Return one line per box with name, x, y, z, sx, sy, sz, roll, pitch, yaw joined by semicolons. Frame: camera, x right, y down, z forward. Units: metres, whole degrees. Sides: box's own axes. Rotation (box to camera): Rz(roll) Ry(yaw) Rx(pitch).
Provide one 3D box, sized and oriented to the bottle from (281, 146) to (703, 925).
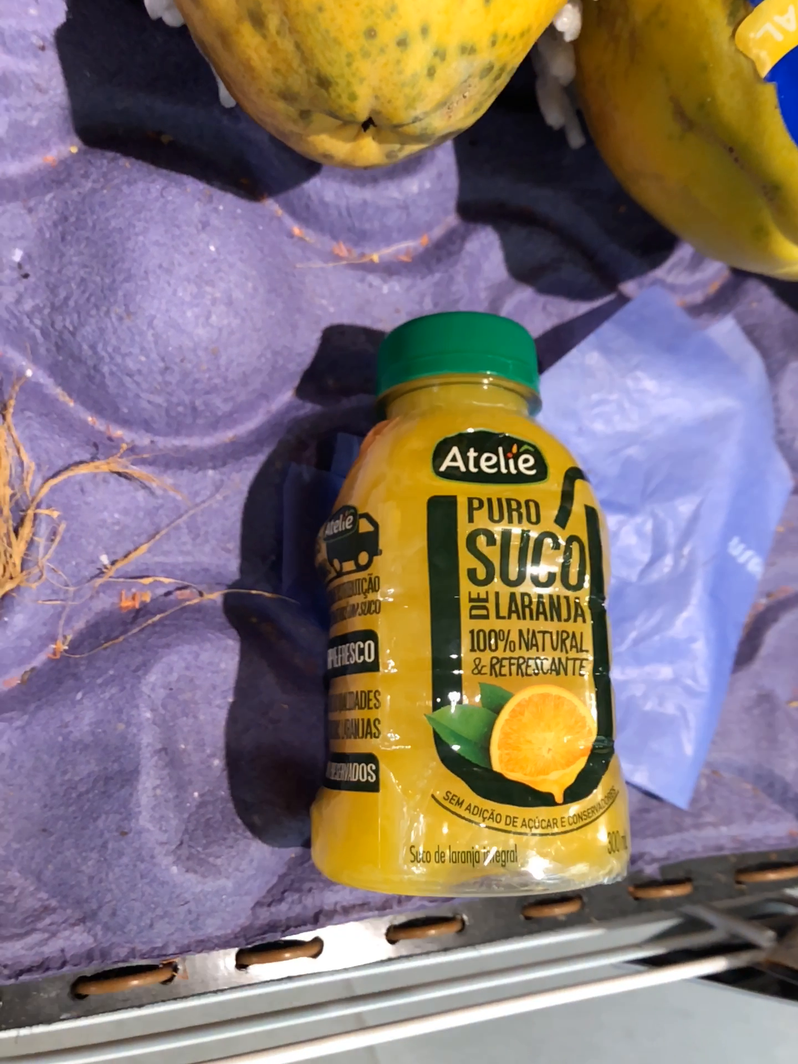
bottle;0.016;0.001;0.202;0.070;0.060;0.140;1;84;-23
